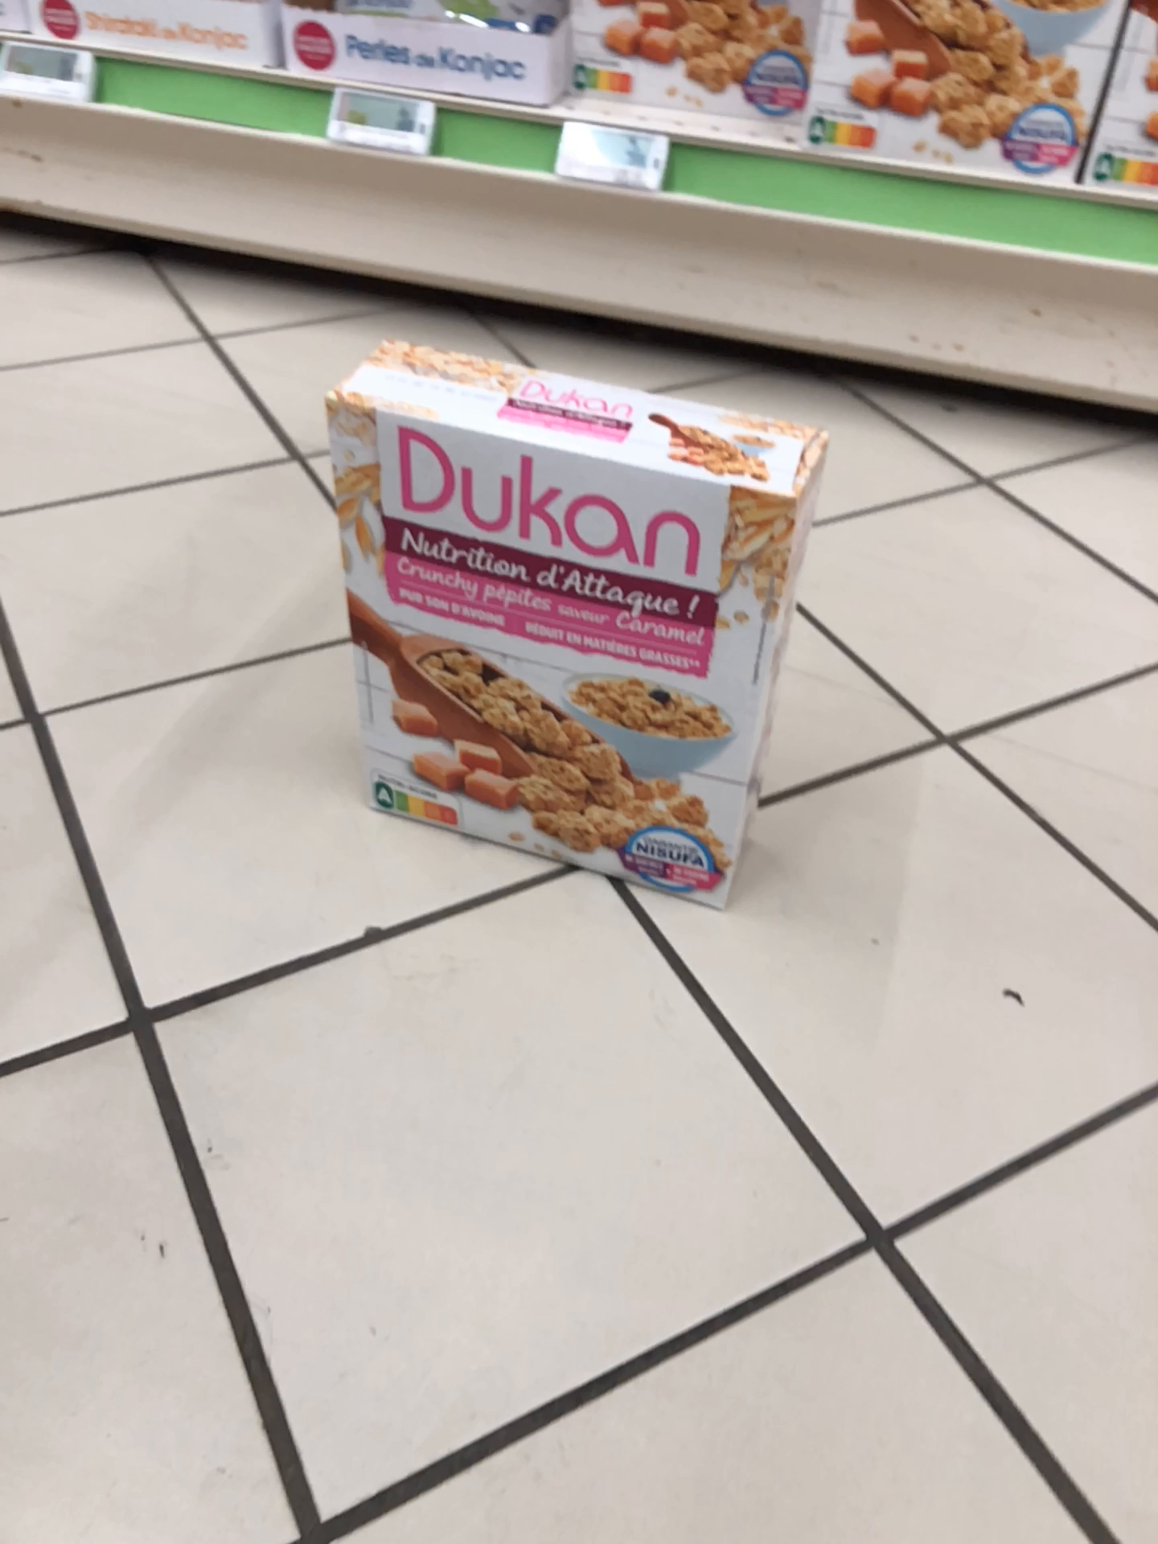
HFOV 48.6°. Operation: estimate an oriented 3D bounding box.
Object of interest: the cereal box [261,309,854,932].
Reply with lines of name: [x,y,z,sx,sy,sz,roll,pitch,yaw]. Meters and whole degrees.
cereal box: [-0.012,-0.053,0.494,0.190,0.199,0.060,15,42,12]
